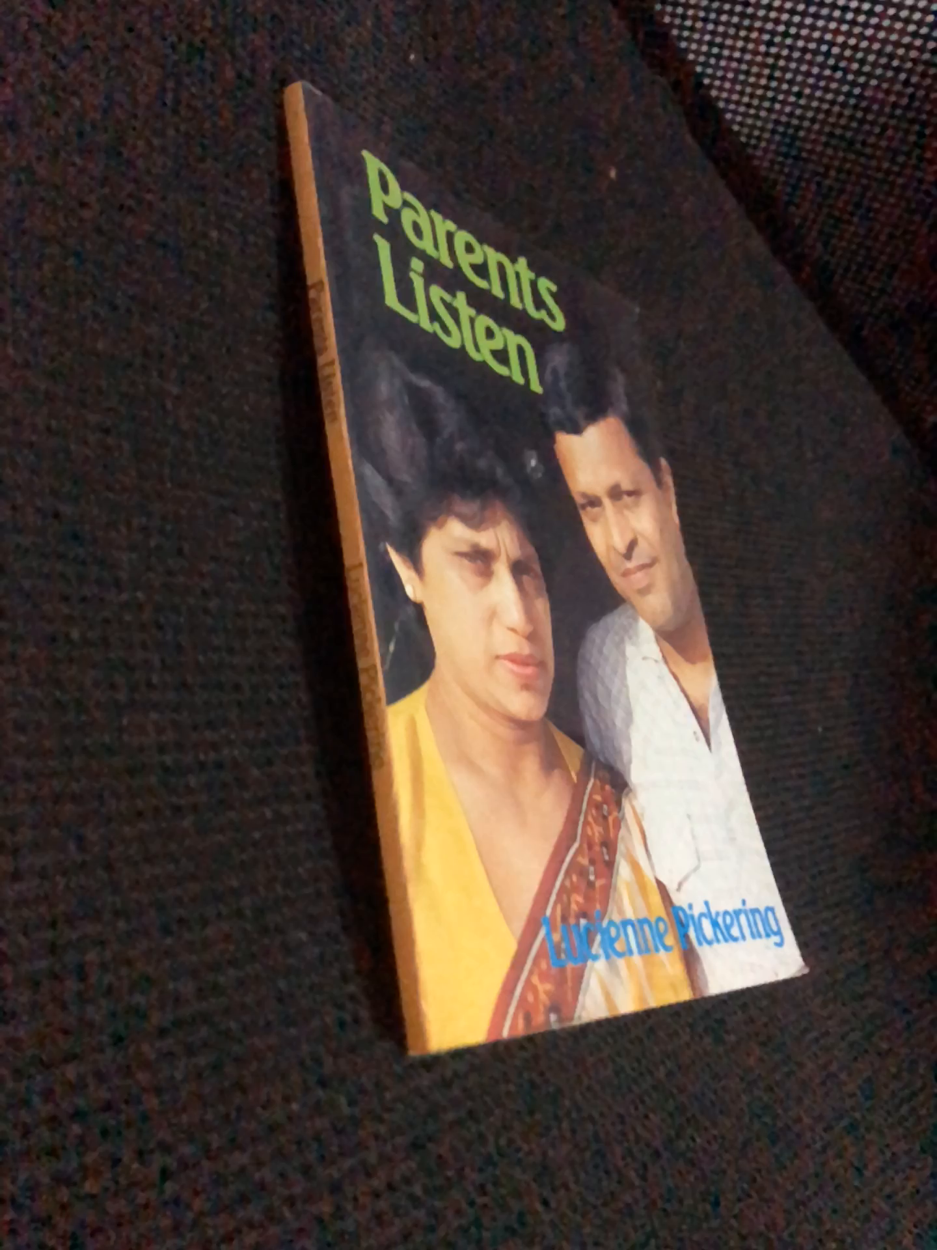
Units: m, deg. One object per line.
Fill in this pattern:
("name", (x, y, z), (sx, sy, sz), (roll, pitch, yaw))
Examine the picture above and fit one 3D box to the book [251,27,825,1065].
("book", (0.018, -0.018, 0.224), (0.130, 0.010, 0.190), (14, 59, -48))
